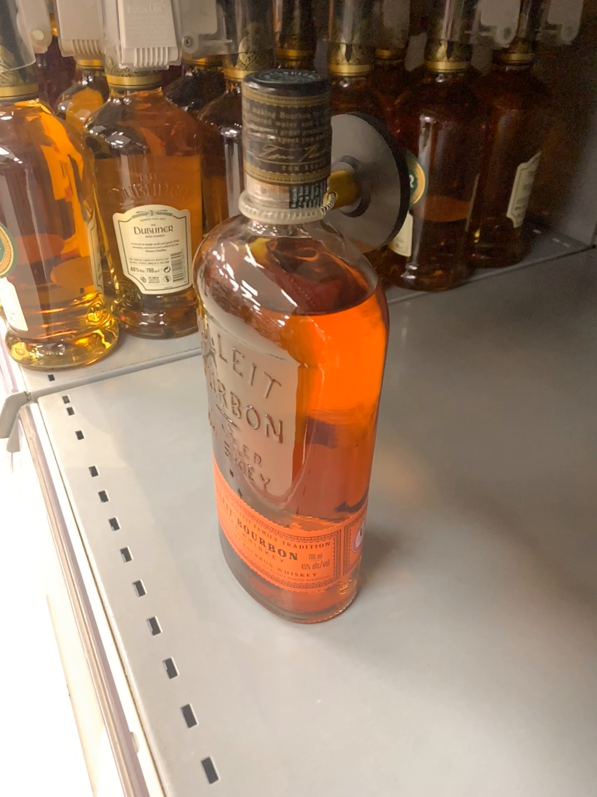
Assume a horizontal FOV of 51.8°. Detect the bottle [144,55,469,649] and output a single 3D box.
[{"bbox_3d":[-0.005,-0.011,0.266,0.060,0.228,0.101,-20,41,-27],"label":"bottle"}]
